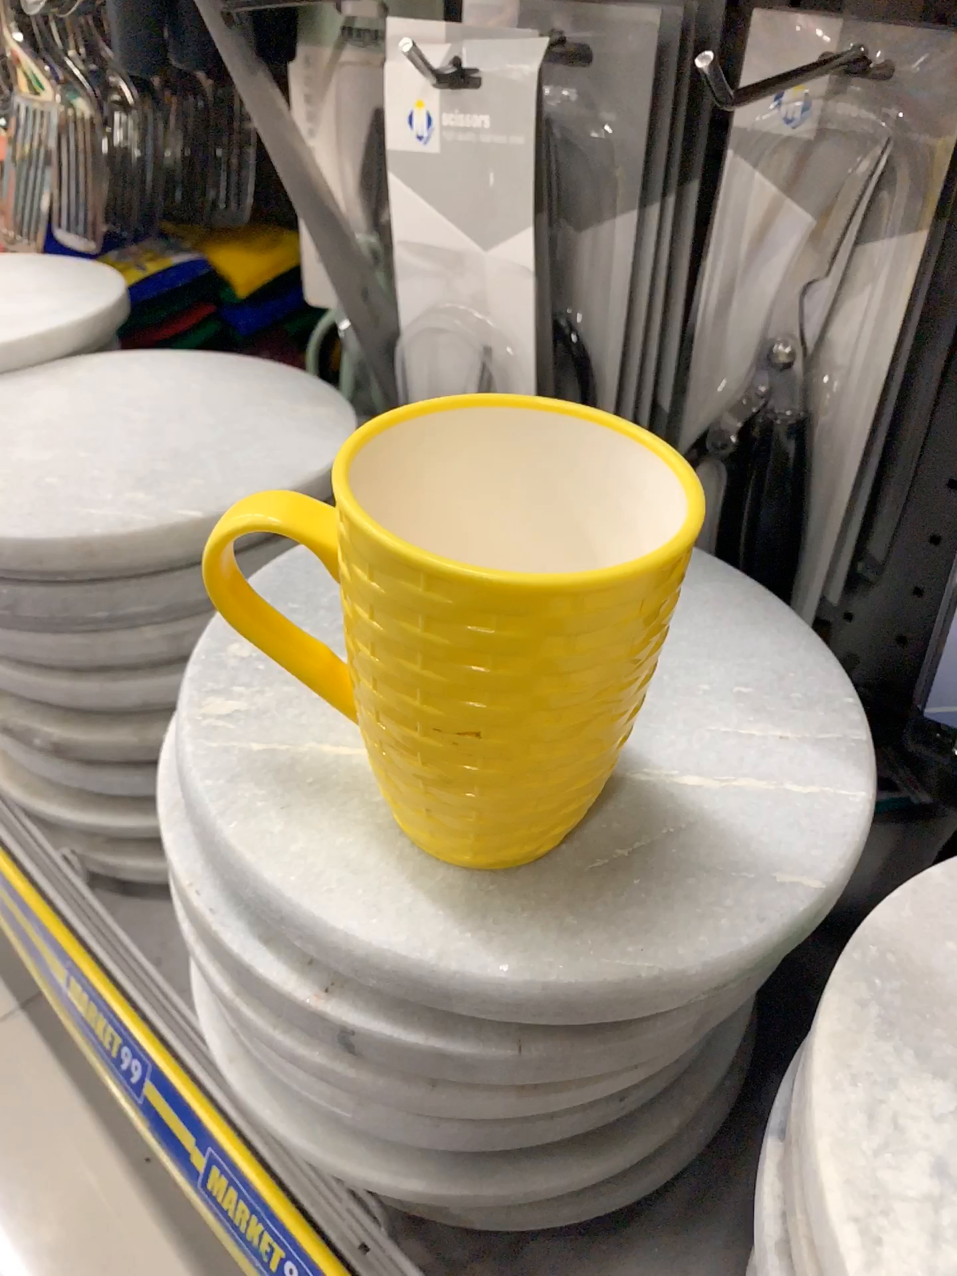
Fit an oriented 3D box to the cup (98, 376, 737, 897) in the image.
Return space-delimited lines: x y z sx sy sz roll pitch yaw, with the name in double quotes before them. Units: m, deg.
"cup" -0.013 -0.003 0.249 0.120 0.090 0.090 3 36 -1
